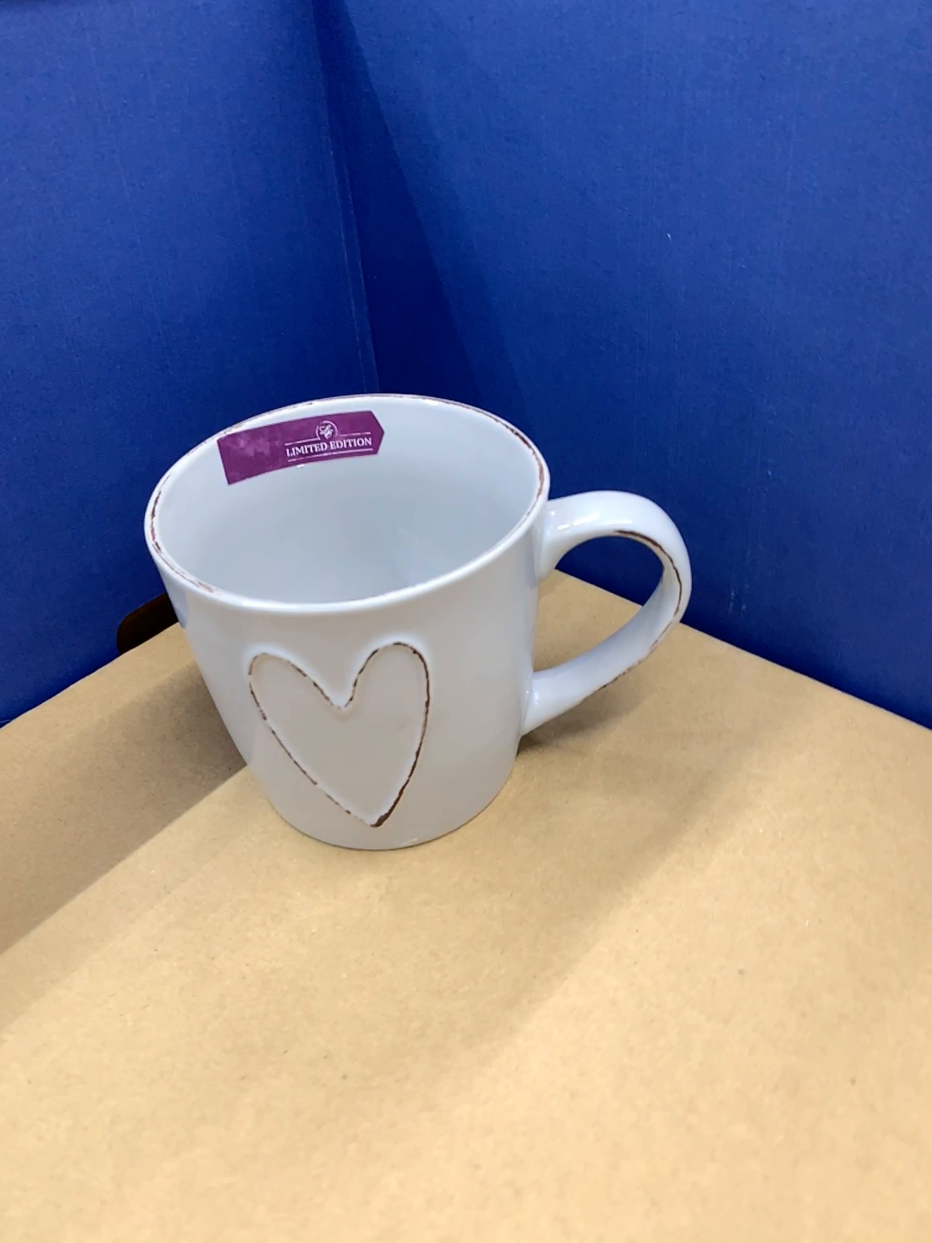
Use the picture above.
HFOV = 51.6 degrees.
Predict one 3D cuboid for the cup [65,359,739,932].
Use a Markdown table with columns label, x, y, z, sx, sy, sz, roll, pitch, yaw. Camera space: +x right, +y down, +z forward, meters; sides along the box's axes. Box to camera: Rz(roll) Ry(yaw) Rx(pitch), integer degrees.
| label | x | y | z | sx | sy | sz | roll | pitch | yaw |
| --- | --- | --- | --- | --- | --- | --- | --- | --- | --- |
| cup | -0.014 | 0.001 | 0.237 | 0.124 | 0.085 | 0.091 | -9 | 36 | -6 |
